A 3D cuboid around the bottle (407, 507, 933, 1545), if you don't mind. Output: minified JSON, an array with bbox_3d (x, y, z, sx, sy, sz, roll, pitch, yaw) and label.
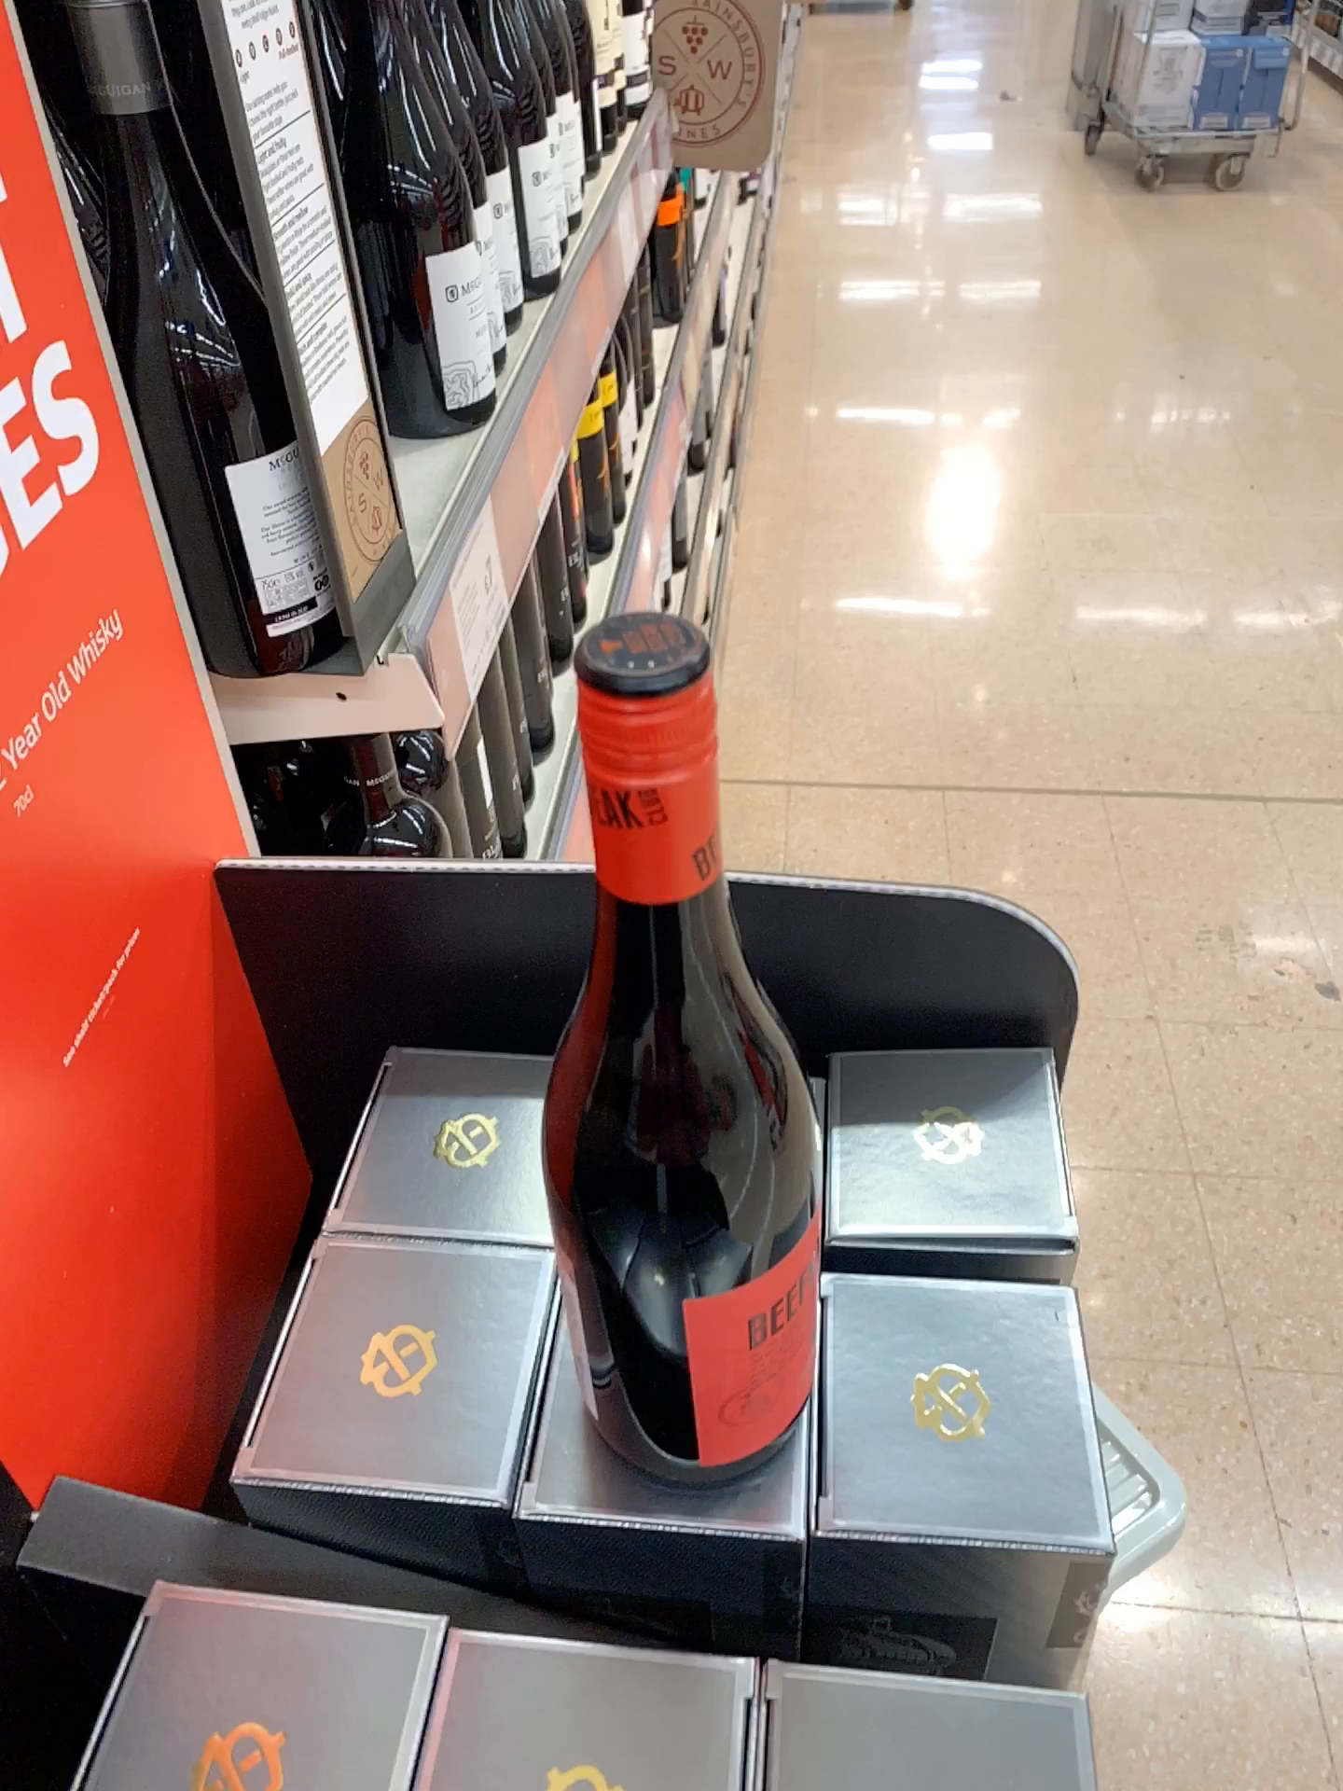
[{"bbox_3d":[0.007,0.054,0.362,0.080,0.283,0.083,-1,41,1],"label":"bottle"}]
